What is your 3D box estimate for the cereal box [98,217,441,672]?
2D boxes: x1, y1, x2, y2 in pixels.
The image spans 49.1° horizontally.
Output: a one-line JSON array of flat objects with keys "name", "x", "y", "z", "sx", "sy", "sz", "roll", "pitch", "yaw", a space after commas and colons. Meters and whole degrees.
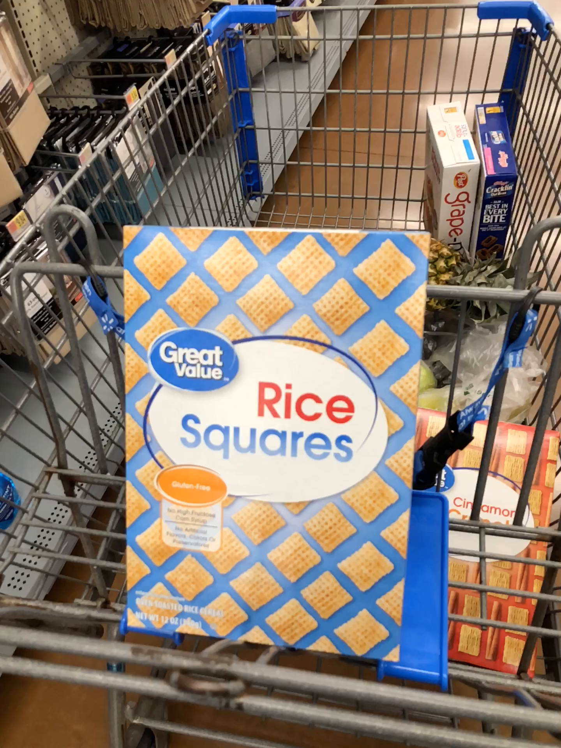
[{"name": "cereal box", "x": -0.009, "y": 0.040, "z": 0.428, "sx": 0.210, "sy": 0.280, "sz": 0.080, "roll": 4, "pitch": 9, "yaw": 10}]
